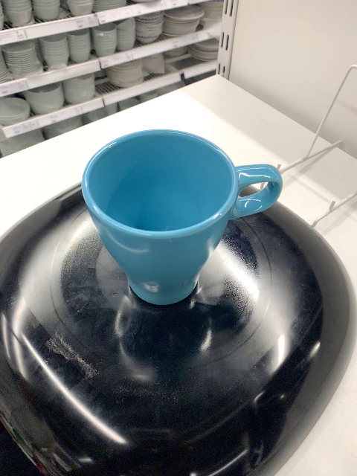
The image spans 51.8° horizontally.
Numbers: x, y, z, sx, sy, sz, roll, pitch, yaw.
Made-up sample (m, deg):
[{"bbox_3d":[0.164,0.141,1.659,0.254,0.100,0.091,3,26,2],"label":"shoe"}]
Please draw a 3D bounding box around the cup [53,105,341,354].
[{"bbox_3d":[0.004,-0.009,0.251,0.140,0.100,0.100,-14,52,-15],"label":"cup"}]
